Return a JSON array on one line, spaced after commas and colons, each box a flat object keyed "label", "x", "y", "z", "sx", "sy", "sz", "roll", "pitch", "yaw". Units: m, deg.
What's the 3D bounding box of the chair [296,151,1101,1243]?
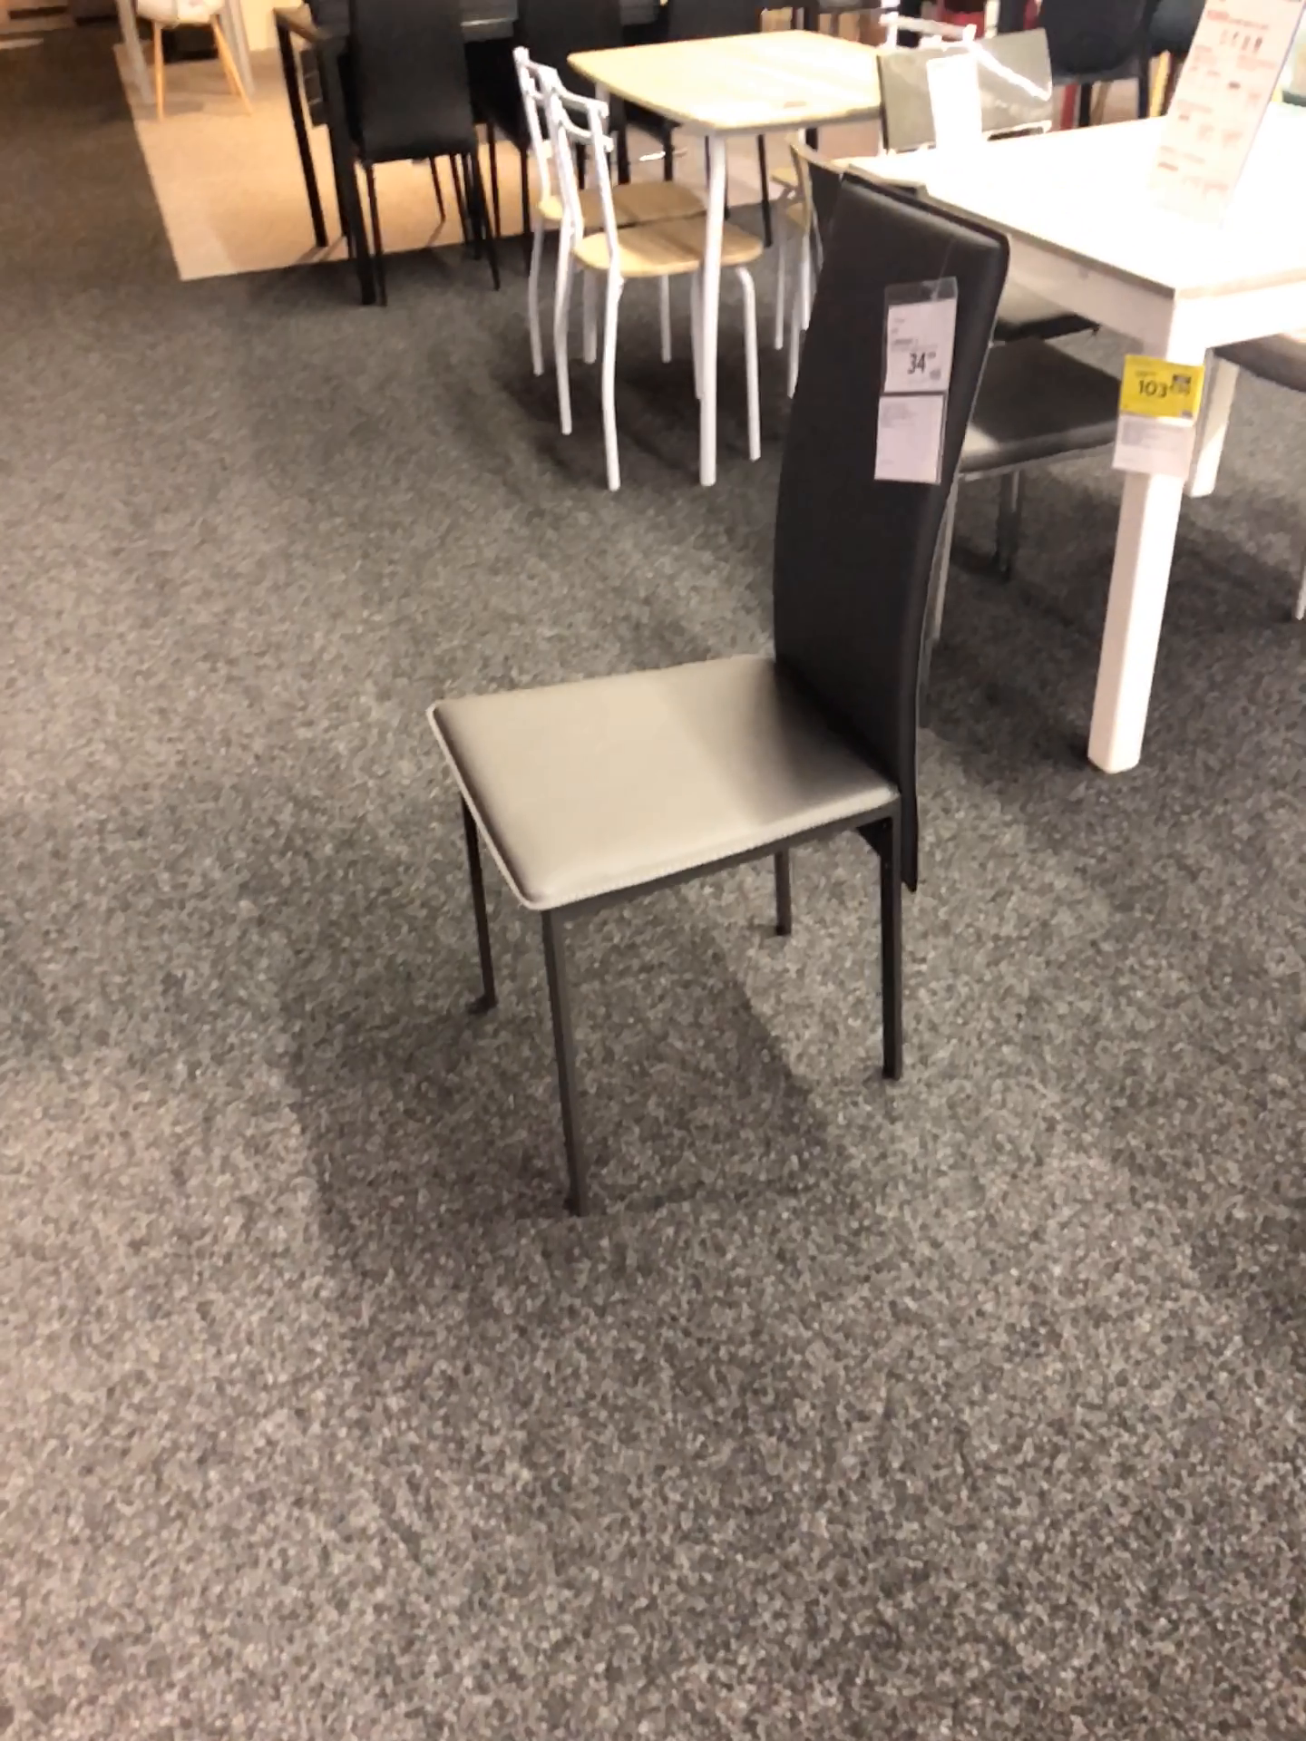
[{"label": "chair", "x": 0.031, "y": -0.172, "z": 1.494, "sx": 0.561, "sy": 0.934, "sz": 0.472, "roll": -14, "pitch": 38, "yaw": -14}]
